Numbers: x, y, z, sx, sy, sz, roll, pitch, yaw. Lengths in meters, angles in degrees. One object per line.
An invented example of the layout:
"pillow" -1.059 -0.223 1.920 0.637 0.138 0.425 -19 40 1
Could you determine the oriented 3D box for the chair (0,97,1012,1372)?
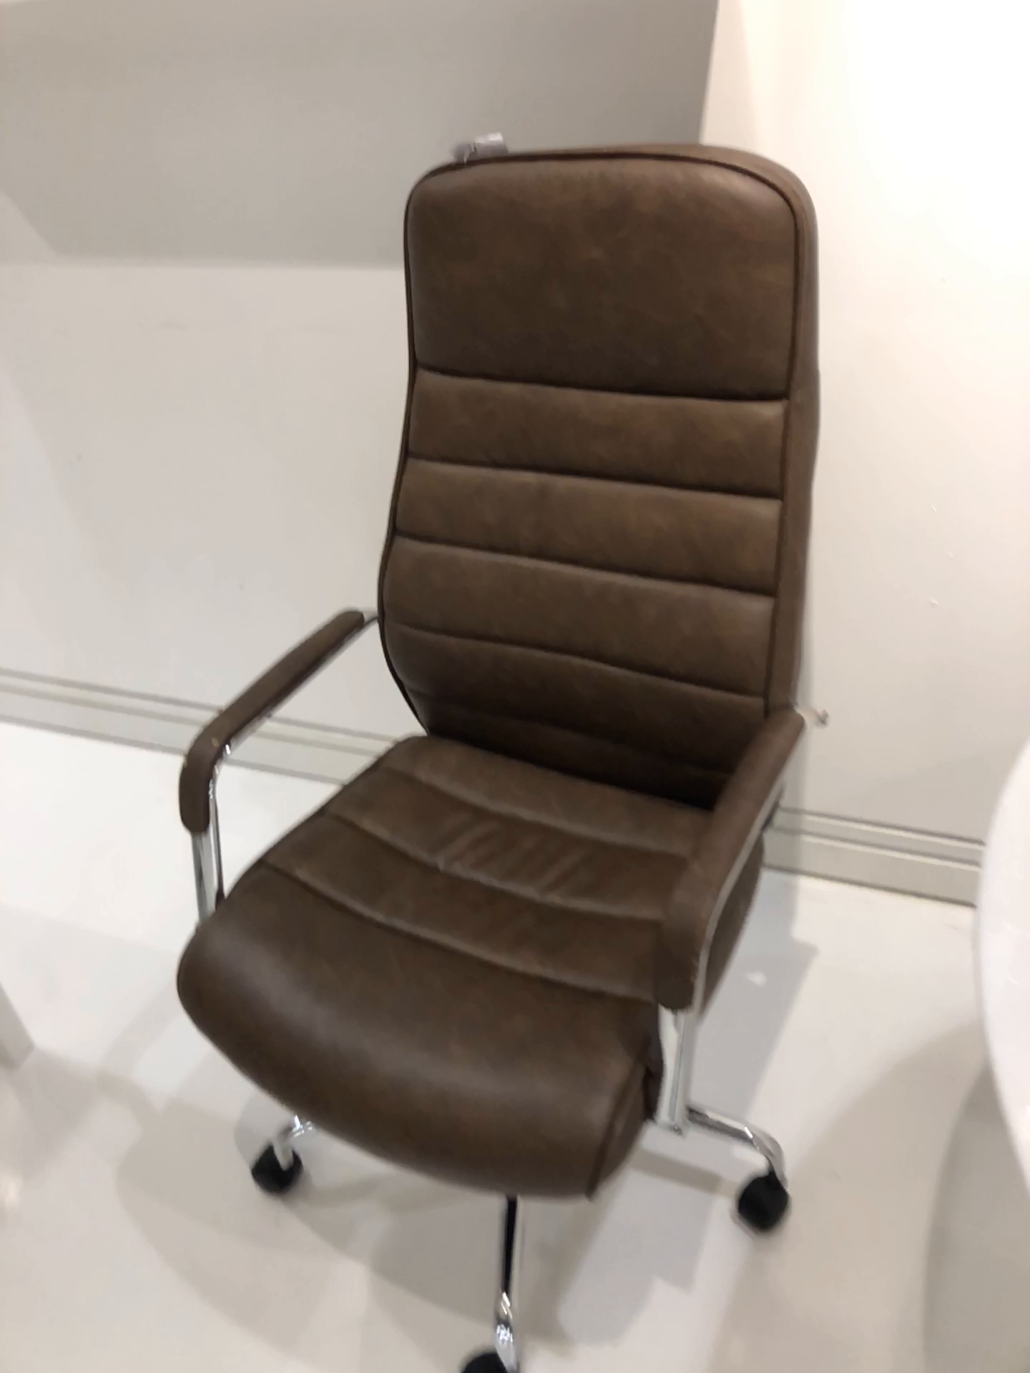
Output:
"chair" -0.004 0.097 1.216 0.701 1.171 0.784 14 40 28
